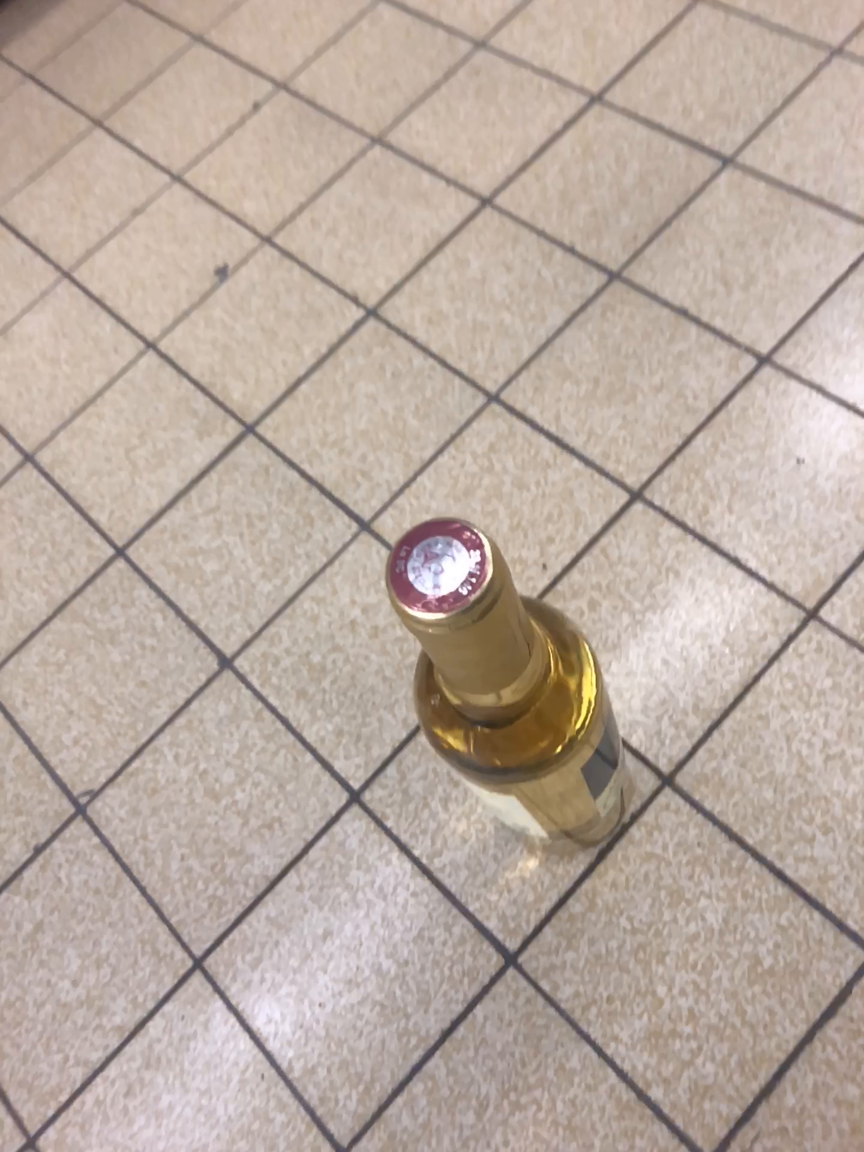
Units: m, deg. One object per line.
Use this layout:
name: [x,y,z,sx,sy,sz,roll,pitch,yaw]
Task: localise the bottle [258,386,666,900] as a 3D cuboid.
bottle: [0.029,0.047,0.321,0.070,0.239,0.070,-6,64,12]
